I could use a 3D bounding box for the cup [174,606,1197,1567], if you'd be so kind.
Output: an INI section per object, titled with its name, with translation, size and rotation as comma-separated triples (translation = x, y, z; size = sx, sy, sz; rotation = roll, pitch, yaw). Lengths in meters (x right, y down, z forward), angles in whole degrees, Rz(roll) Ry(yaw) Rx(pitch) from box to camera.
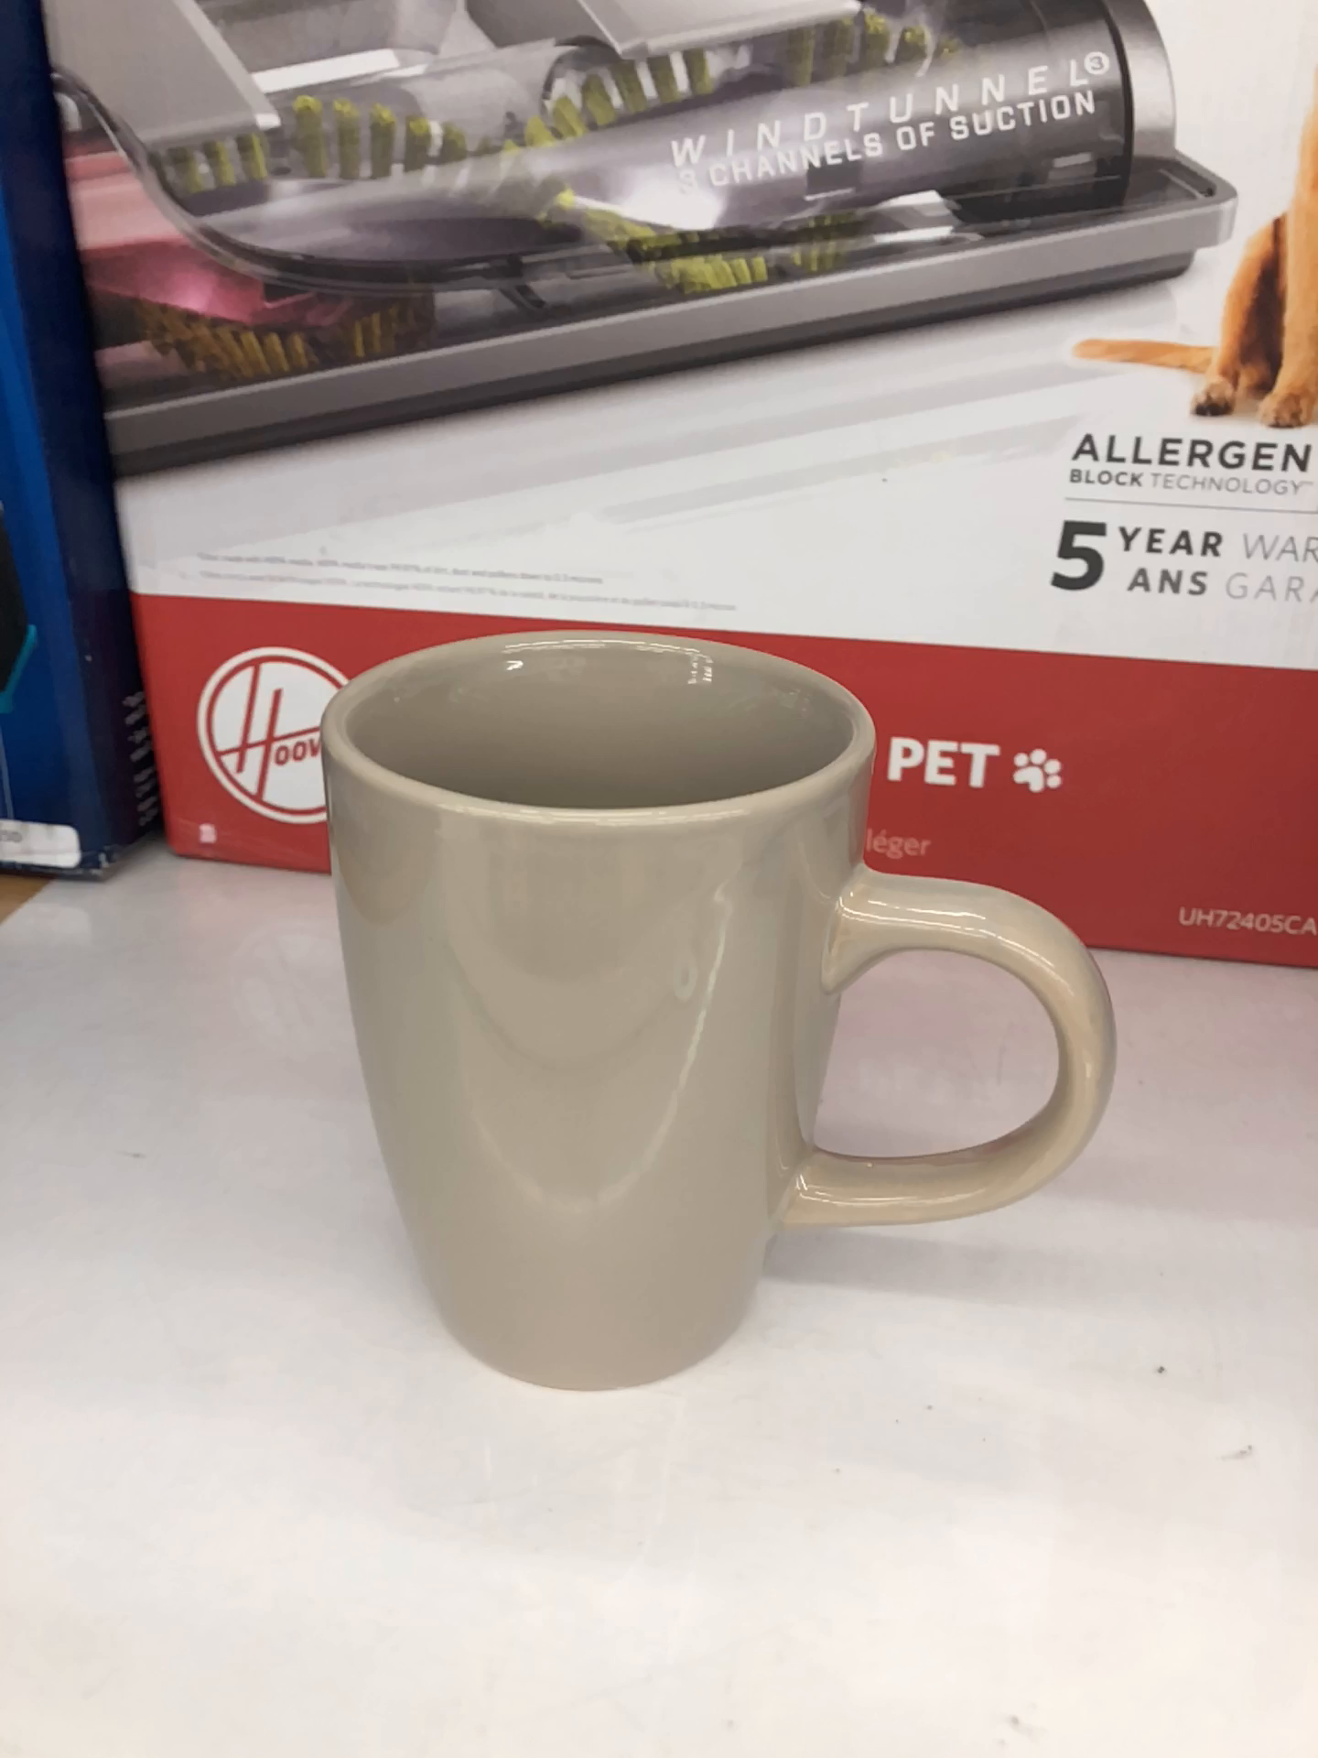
[cup]
translation = 0.009, 0.021, 0.230
size = 0.125, 0.092, 0.088
rotation = 10, 27, 17
